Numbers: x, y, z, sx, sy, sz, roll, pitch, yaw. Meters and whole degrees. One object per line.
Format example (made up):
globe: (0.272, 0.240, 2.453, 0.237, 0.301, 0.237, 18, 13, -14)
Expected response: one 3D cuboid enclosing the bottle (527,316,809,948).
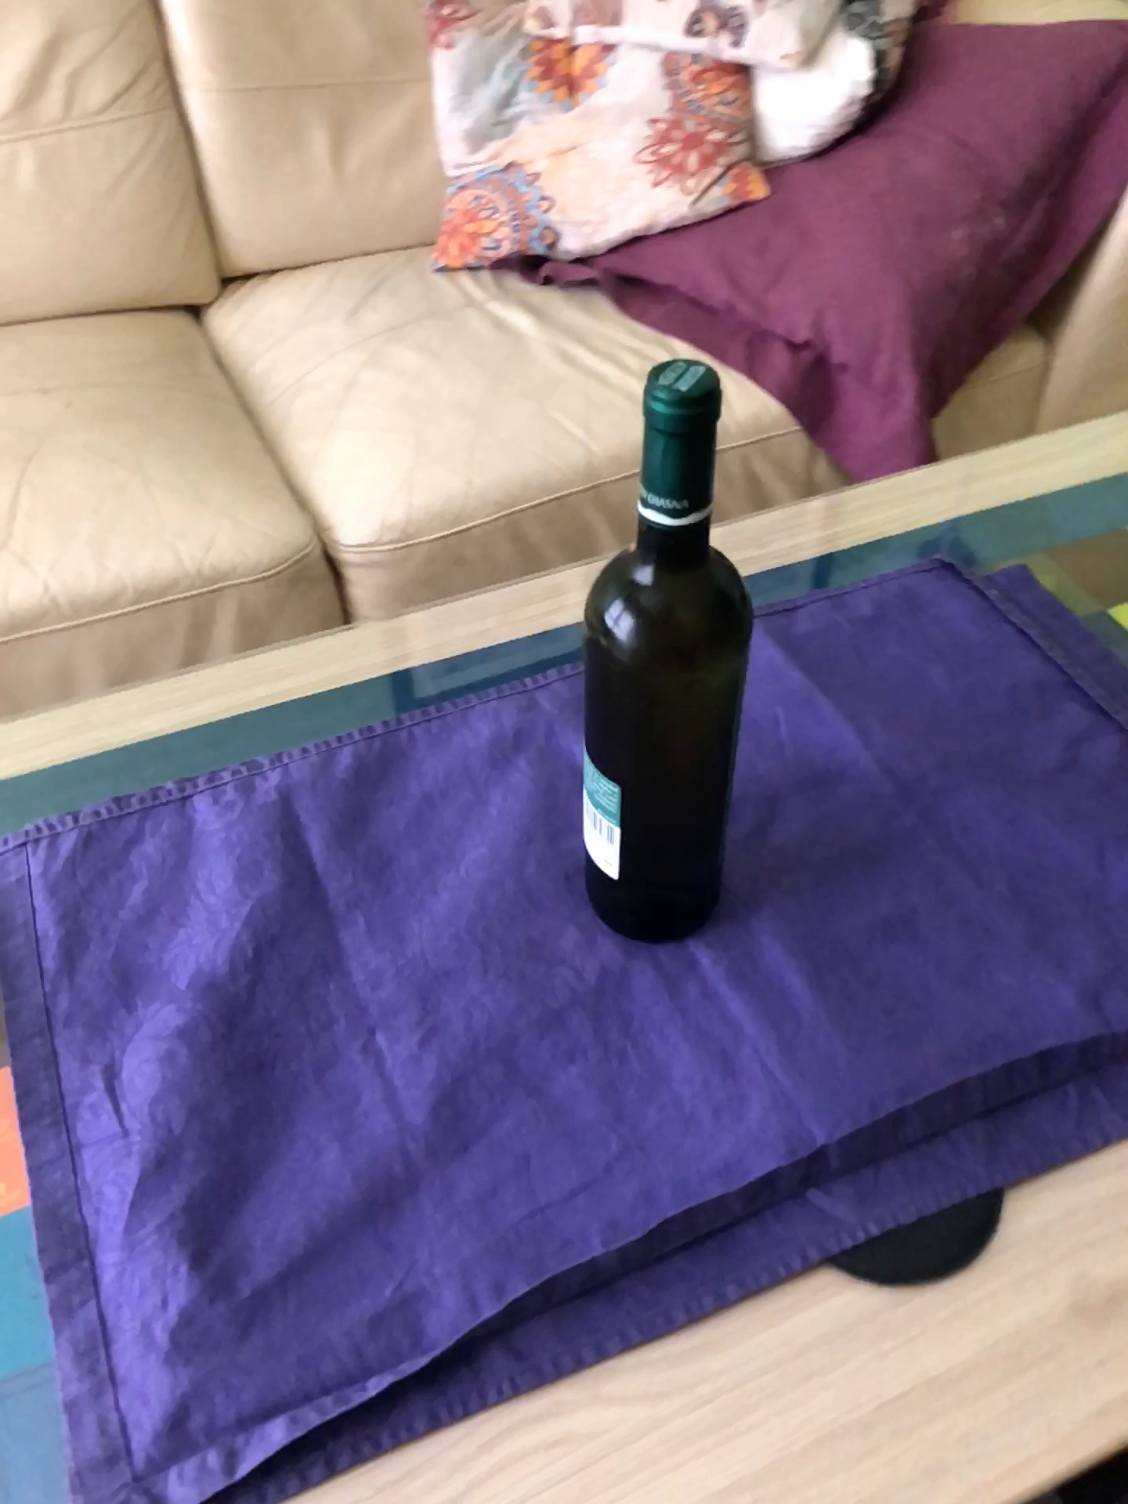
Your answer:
bottle: (0.034, -0.034, 0.526, 0.090, 0.269, 0.090, -1, 46, 1)
